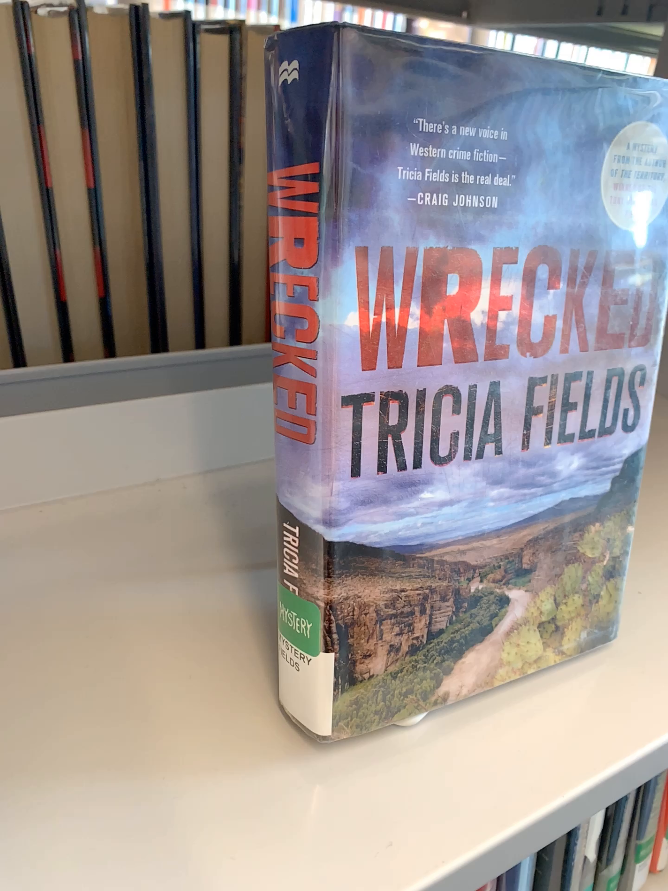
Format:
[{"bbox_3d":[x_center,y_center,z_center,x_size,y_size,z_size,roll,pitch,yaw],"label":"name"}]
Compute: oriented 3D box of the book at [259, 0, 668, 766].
[{"bbox_3d":[0.054,-0.015,0.231,0.150,0.202,0.040,-9,20,-27],"label":"book"}]
